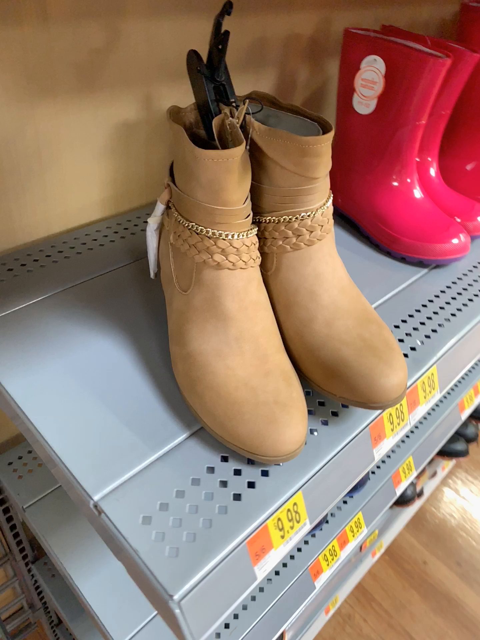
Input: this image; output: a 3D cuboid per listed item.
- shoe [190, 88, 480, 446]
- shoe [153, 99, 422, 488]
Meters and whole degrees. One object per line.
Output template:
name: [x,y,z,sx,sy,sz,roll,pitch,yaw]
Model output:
shoe: [0.050,-0.056,0.377,0.083,0.154,0.238,-14,46,-24]
shoe: [0.002,-0.032,0.343,0.088,0.161,0.218,-7,43,-17]
